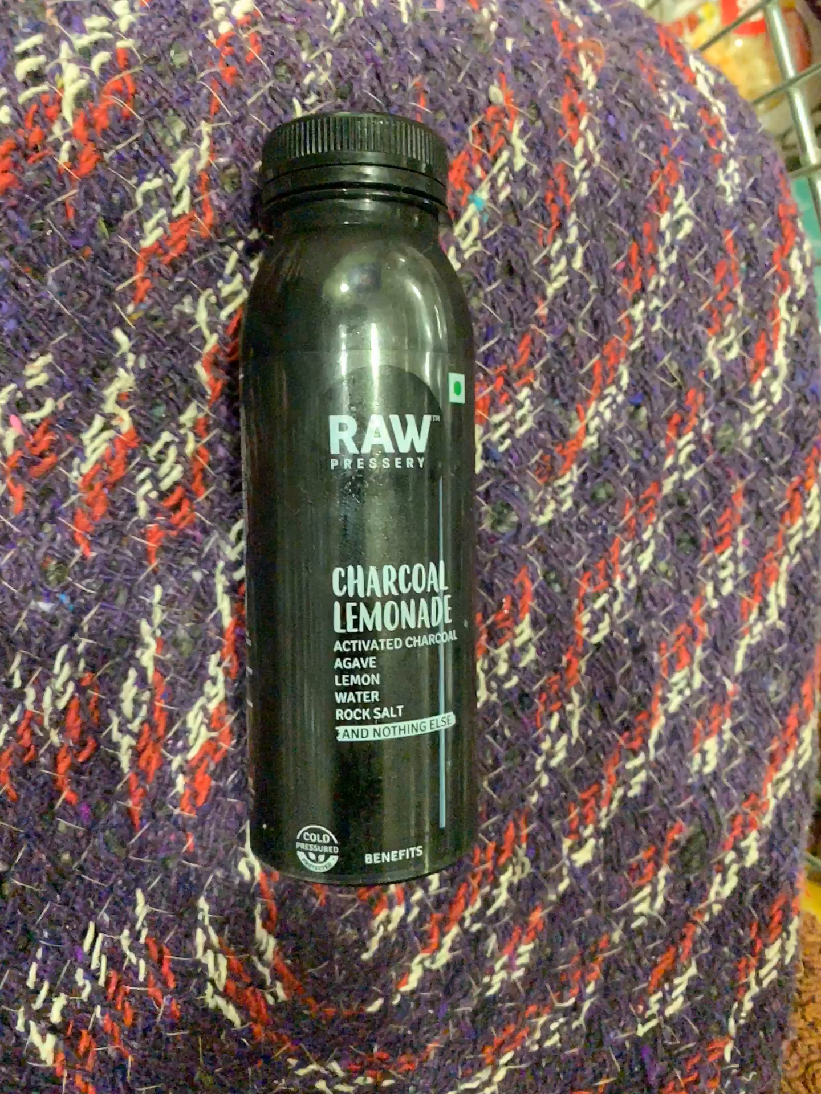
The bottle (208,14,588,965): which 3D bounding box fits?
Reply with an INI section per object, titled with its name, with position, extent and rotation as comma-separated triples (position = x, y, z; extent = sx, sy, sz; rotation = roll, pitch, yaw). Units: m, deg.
[bottle]
position = -0.008, -0.008, 0.178
extent = 0.060, 0.050, 0.160
rotation = -1, 98, -21
